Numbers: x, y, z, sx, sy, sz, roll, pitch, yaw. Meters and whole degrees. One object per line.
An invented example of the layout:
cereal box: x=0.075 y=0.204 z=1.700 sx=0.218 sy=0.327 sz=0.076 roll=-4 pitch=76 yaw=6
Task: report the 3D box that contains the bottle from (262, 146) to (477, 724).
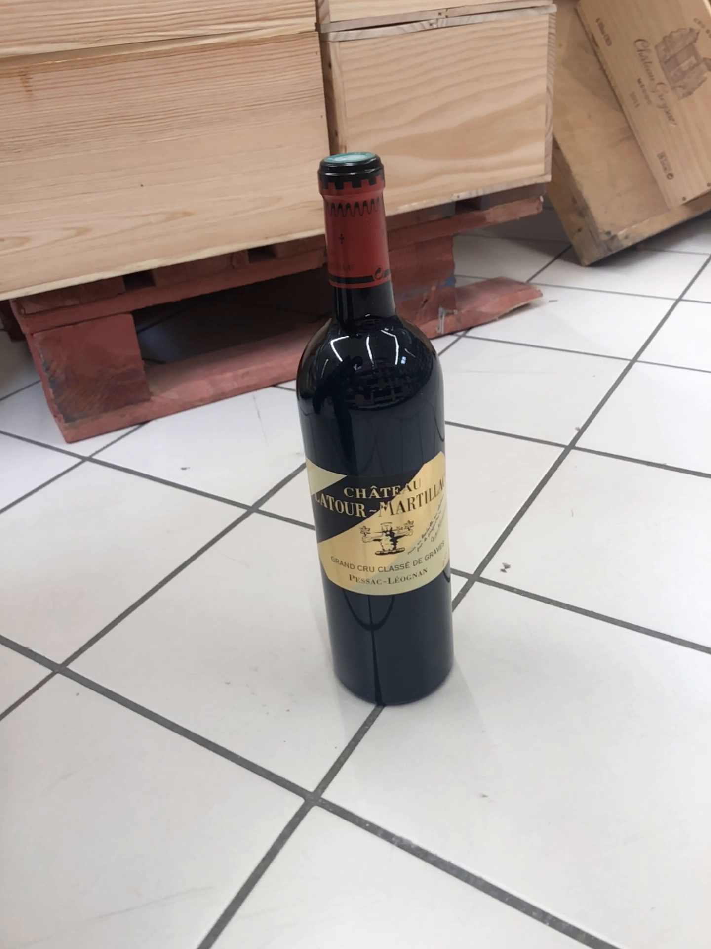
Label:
bottle: x=0.013 y=-0.007 z=0.397 sx=0.080 sy=0.278 sz=0.080 roll=-4 pitch=31 yaw=2
